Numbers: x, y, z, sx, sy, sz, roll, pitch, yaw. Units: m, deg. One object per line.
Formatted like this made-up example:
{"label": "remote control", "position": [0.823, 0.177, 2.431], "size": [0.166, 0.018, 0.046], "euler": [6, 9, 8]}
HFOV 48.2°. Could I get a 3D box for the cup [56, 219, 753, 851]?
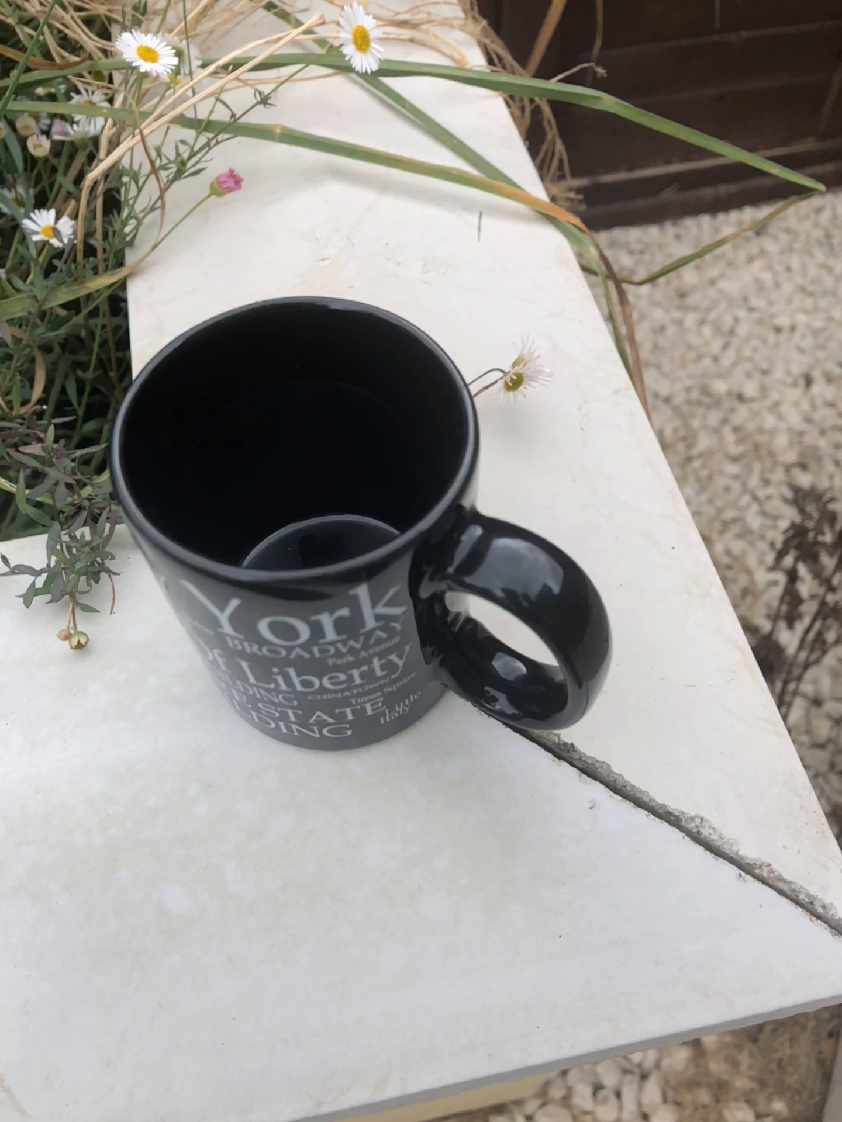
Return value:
{"label": "cup", "position": [-0.001, -0.004, 0.174], "size": [0.090, 0.070, 0.060], "euler": [22, 59, 15]}
